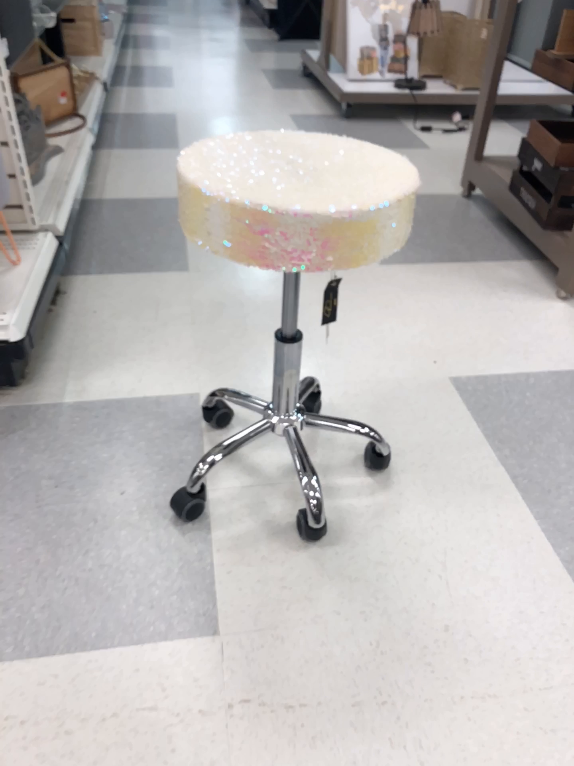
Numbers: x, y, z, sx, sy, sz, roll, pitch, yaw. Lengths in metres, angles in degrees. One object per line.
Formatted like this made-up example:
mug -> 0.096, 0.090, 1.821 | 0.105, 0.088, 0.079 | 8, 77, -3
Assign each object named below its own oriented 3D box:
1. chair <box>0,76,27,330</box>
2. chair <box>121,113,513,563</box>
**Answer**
chair -> -0.729, -0.356, 1.229 | 0.305, 0.382, 0.308 | -4, 37, -10
chair -> -0.002, -0.091, 1.077 | 0.465, 0.591, 0.439 | -4, 37, -10
